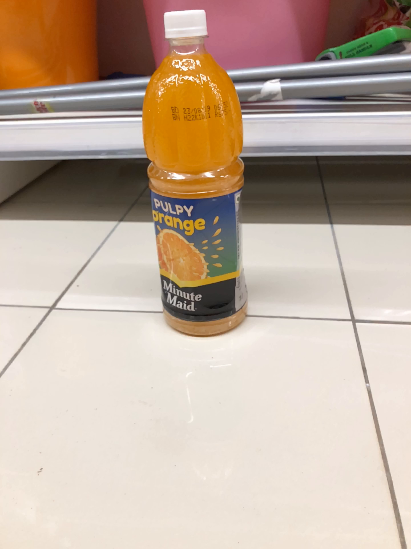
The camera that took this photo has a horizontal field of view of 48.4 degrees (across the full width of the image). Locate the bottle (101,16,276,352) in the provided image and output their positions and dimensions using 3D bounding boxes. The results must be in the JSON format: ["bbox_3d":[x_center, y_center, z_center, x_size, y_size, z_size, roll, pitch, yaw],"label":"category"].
[{"bbox_3d":[-0.003,-0.071,0.382,0.090,0.245,0.091,-3,29,1],"label":"bottle"}]
